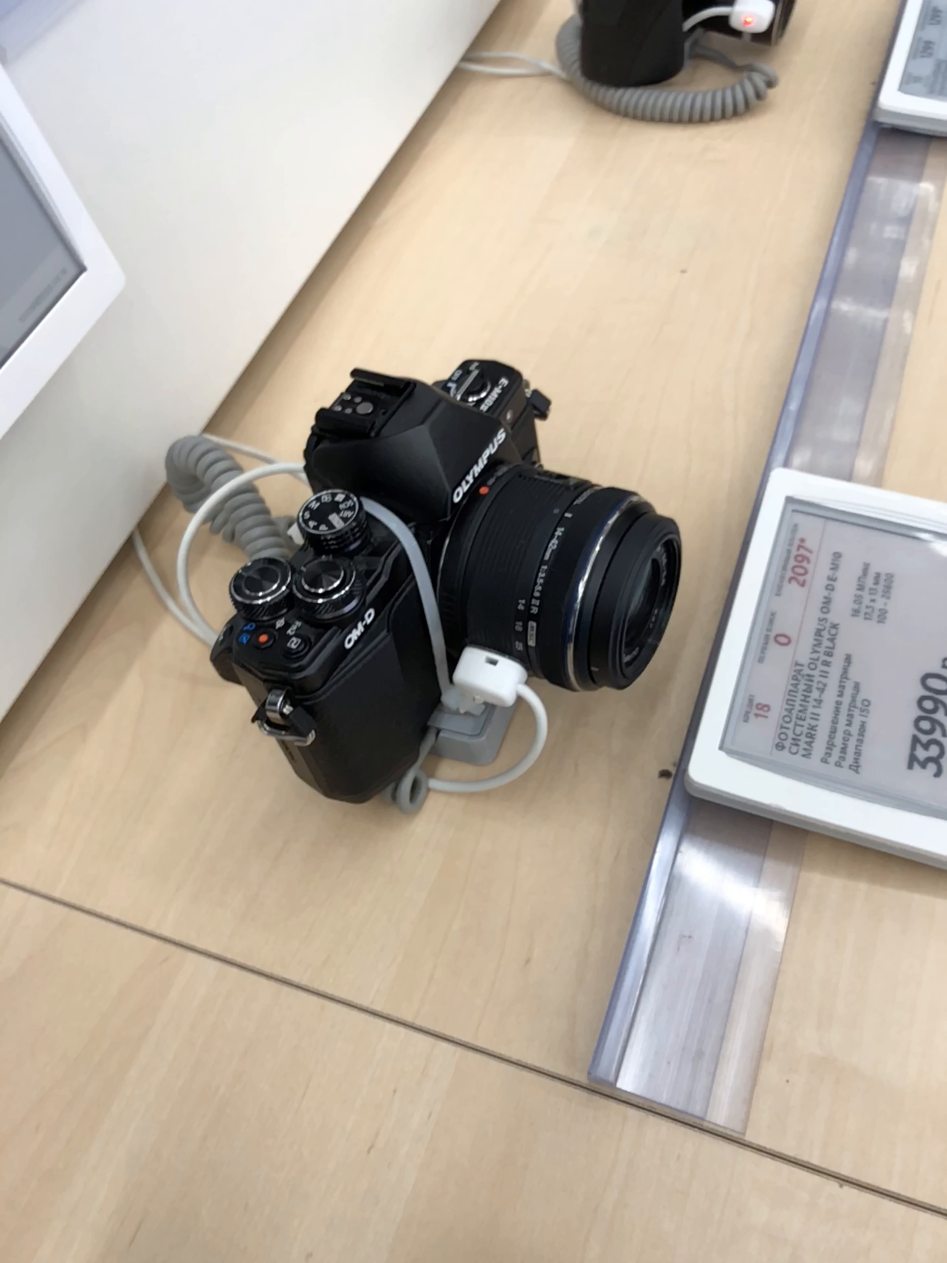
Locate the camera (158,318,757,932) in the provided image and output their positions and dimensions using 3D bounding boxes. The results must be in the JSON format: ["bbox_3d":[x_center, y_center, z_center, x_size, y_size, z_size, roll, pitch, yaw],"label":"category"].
[{"bbox_3d":[0.006,-0.006,0.271,0.100,0.079,0.112,16,59,23],"label":"camera"}]
